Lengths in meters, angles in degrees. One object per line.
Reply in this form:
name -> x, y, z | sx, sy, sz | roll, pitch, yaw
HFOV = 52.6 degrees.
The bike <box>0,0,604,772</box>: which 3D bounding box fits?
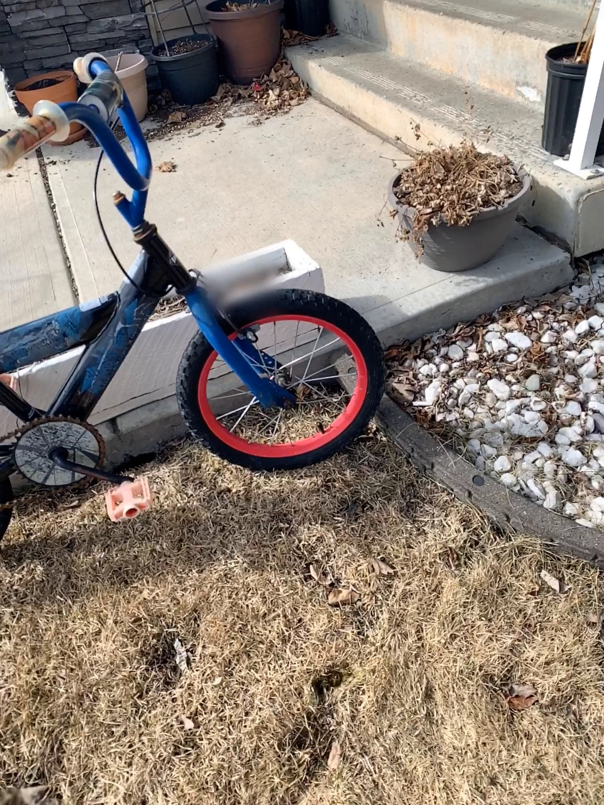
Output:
bike -> -0.351, -0.066, 0.834 | 1.023, 0.728, 0.538 | -18, 42, -4
